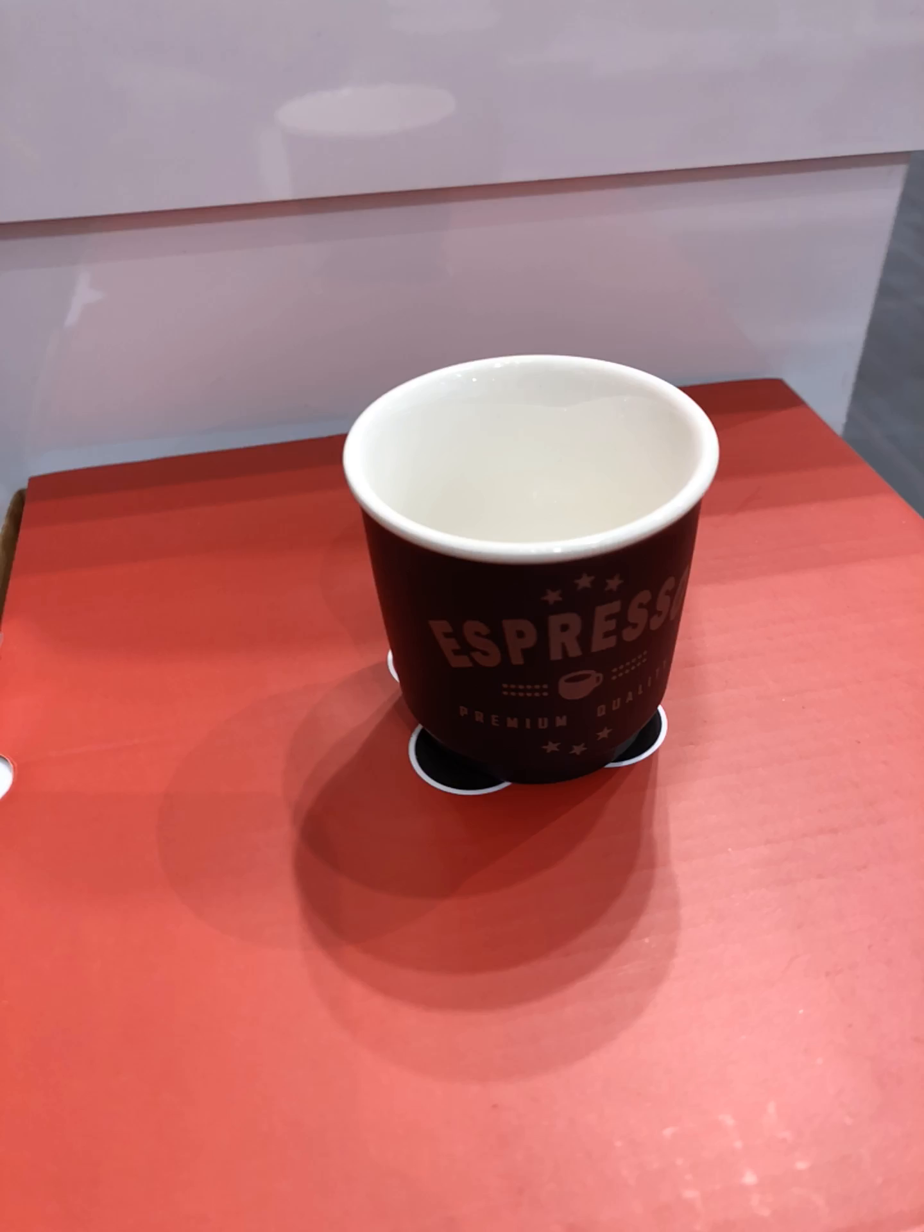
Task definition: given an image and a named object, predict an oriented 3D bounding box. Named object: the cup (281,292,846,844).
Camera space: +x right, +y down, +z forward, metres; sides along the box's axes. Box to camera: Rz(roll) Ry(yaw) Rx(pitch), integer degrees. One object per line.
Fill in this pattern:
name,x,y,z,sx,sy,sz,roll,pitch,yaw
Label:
cup,0.014,-0.012,0.186,0.070,0.060,0.060,-17,42,-19
